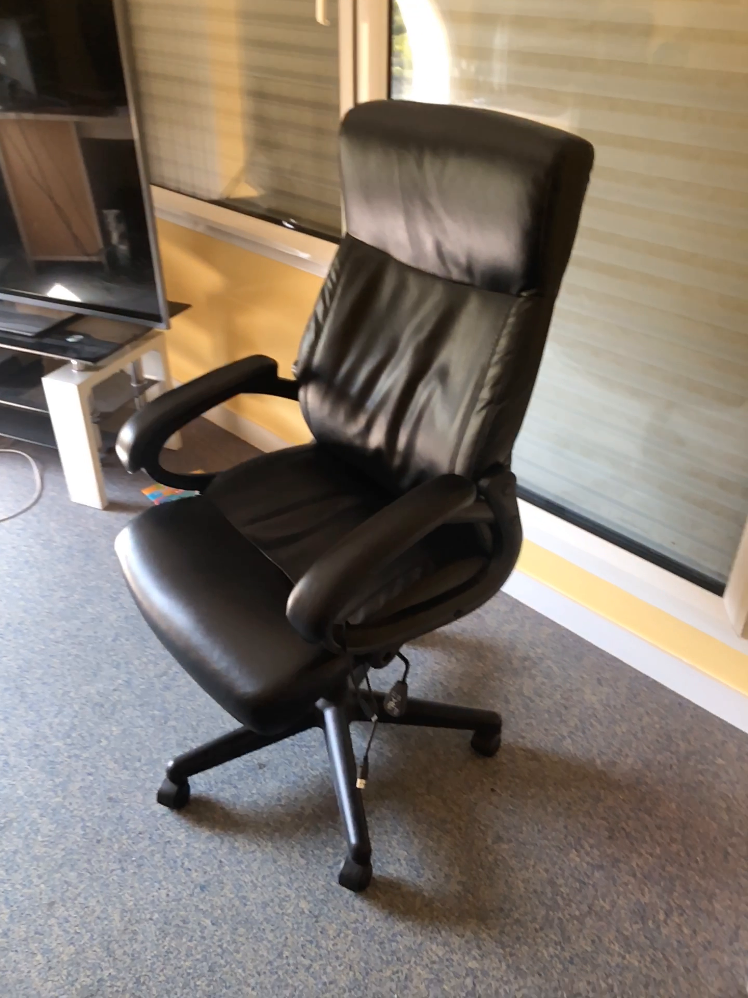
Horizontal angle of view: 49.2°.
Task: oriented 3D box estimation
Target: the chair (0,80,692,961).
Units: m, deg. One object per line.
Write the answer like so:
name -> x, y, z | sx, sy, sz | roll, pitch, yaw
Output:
chair -> -0.084, -0.026, 1.380 | 0.754, 1.113, 0.661 | -25, 41, -34
